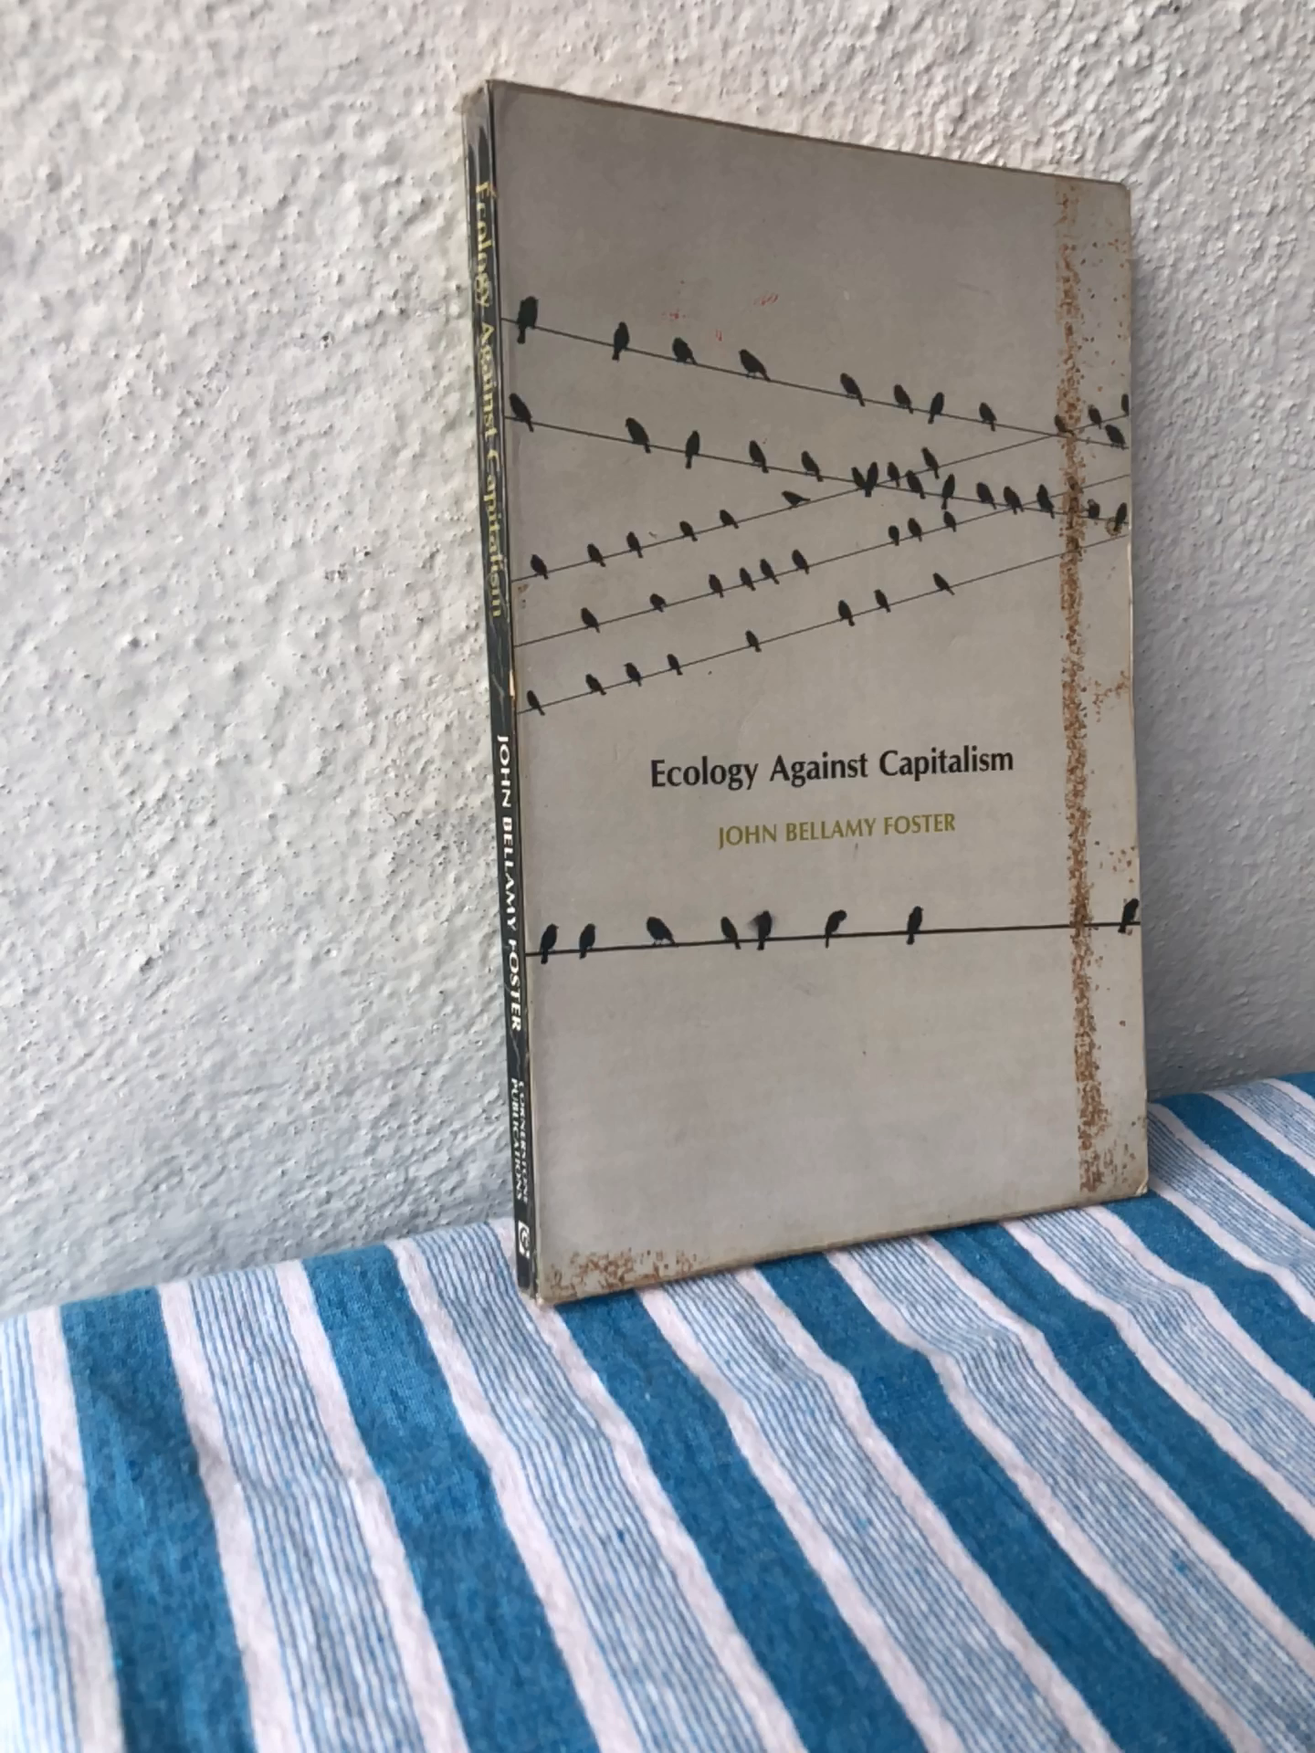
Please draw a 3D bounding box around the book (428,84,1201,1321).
[{"bbox_3d":[0.035,-0.034,0.286,0.140,0.210,0.030,-5,3,-20],"label":"book"}]
